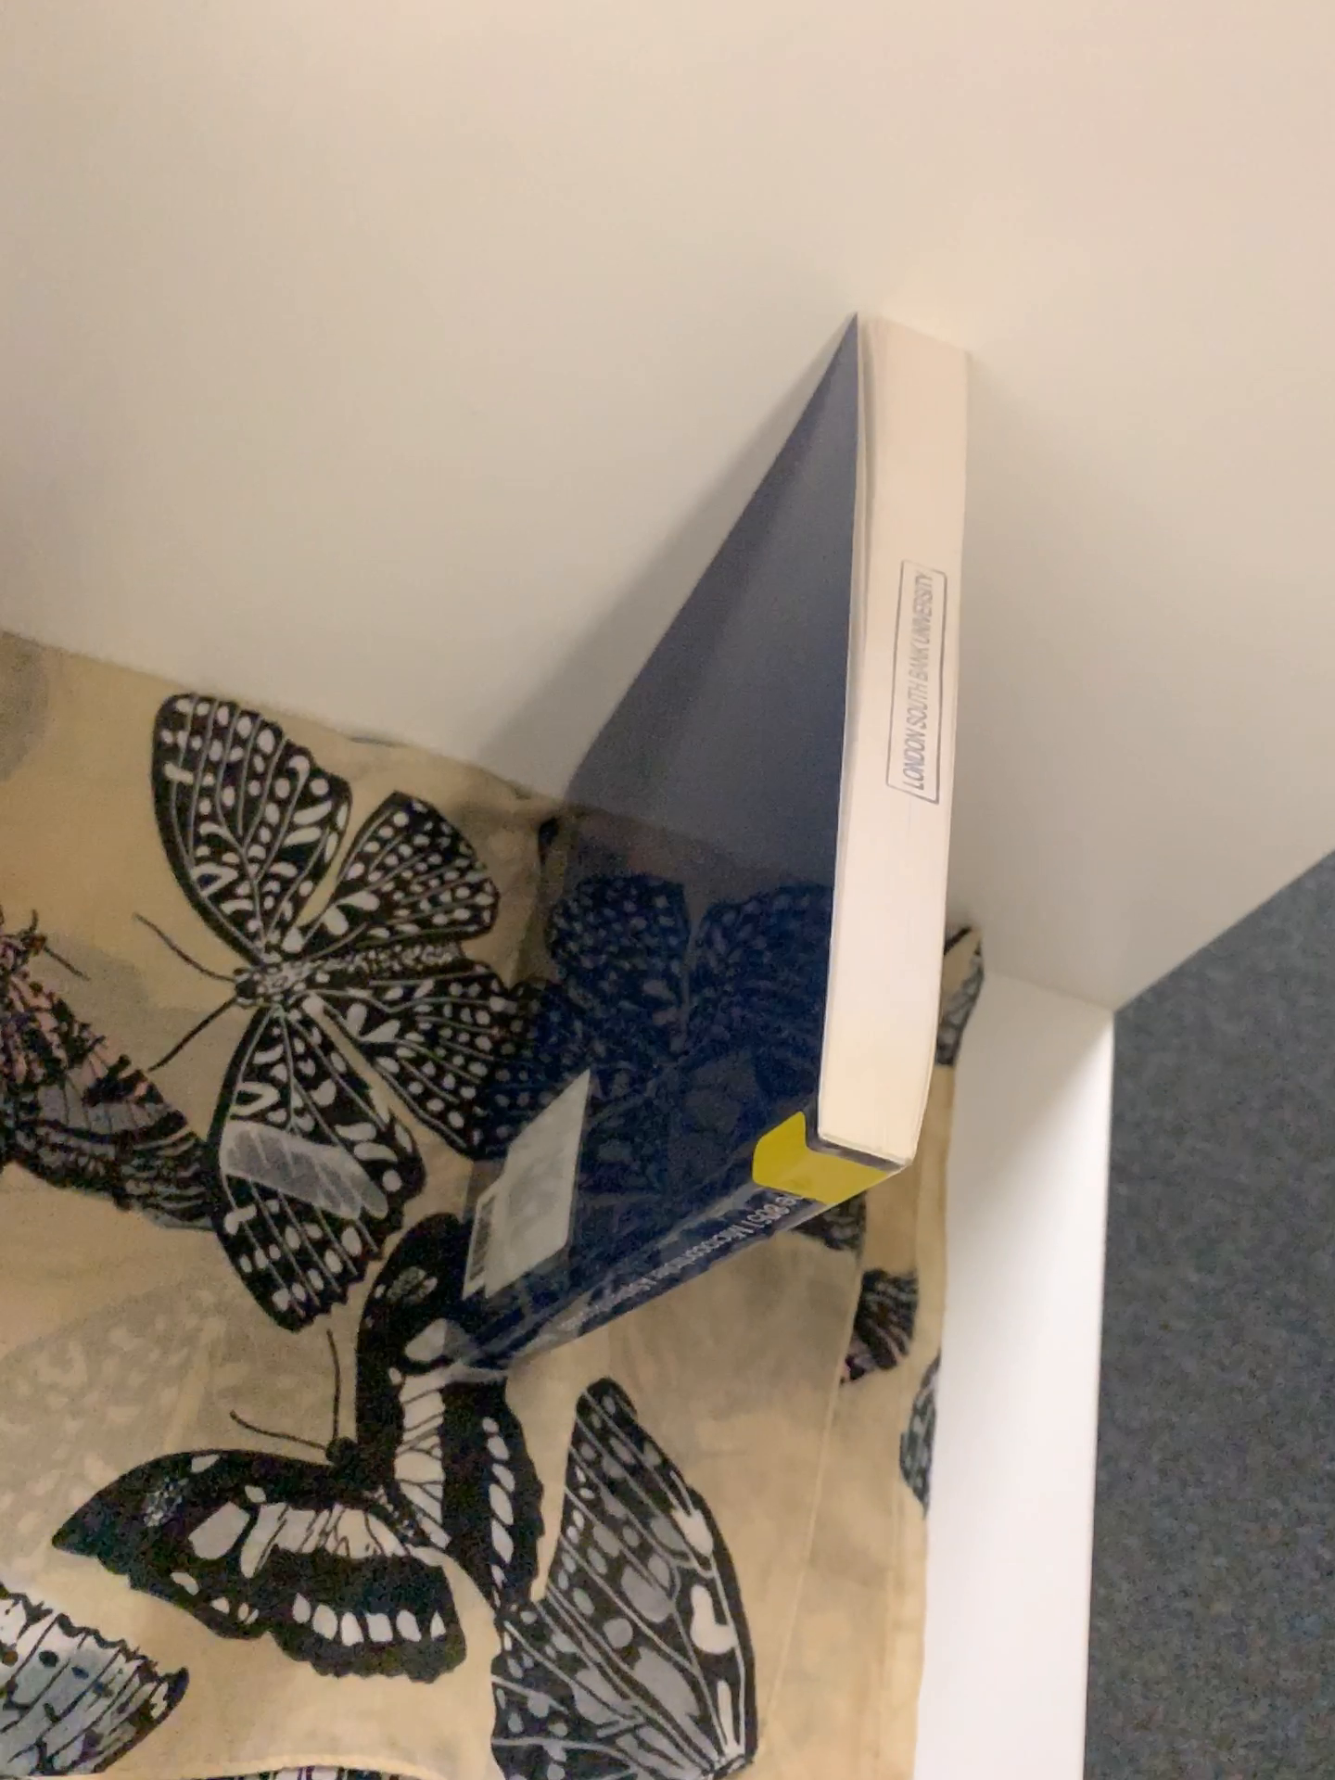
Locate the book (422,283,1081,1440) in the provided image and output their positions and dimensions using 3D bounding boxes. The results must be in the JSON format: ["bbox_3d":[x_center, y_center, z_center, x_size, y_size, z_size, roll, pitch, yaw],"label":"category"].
[{"bbox_3d":[0.011,0.015,0.372,0.053,0.249,0.220,18,59,-15],"label":"book"}]
